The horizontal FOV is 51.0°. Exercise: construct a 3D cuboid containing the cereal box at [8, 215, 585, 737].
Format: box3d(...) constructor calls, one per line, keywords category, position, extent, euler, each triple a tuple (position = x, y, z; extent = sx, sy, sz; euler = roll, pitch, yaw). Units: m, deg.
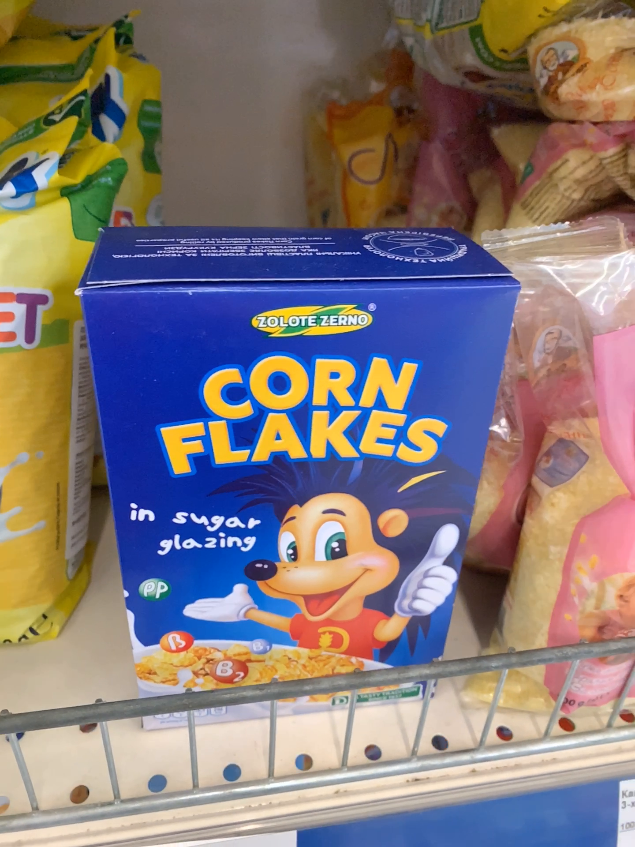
box3d(category="cereal box", position=(-0.008, 0.021, 0.212), extent=(0.130, 0.159, 0.050), euler=(-3, 33, -9))
